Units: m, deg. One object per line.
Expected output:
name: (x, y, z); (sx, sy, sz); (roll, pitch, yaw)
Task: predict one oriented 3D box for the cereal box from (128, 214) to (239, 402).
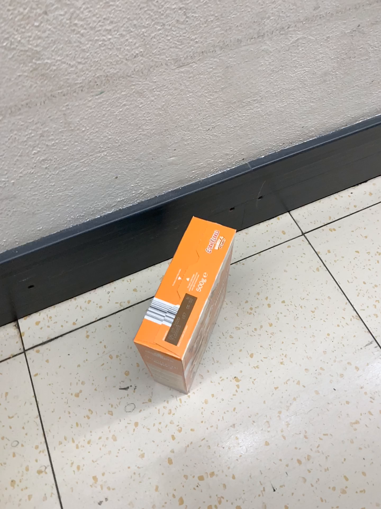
cereal box: (-0.001, 0.100, 0.614); (0.070, 0.268, 0.201); (19, 64, 12)
